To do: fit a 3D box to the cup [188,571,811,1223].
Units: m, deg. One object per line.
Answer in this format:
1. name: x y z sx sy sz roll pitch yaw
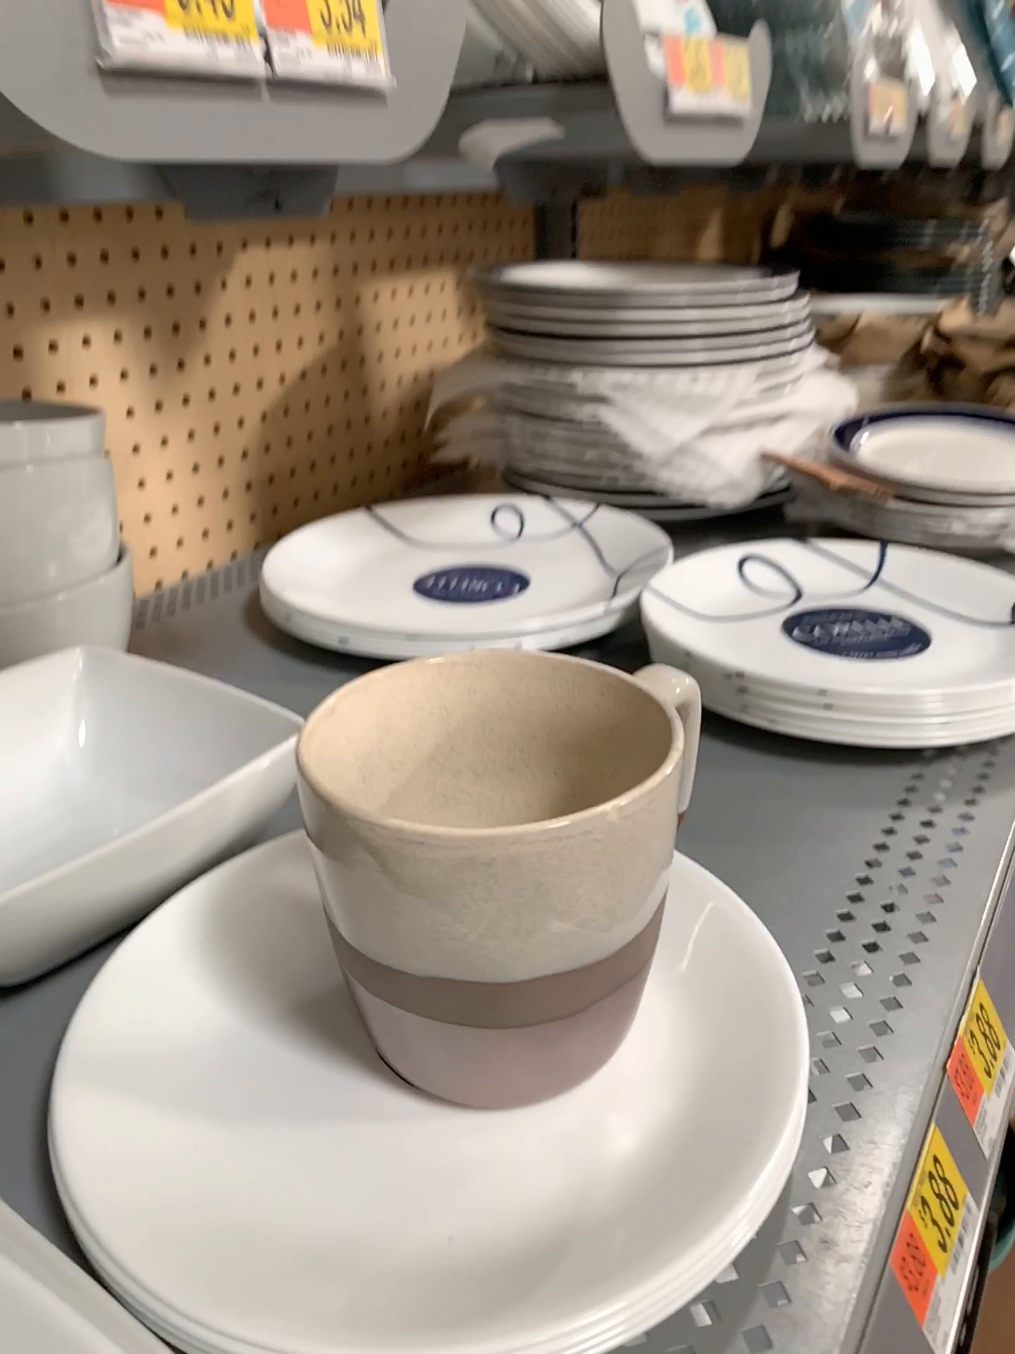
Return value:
1. cup: 0.006 0.044 0.299 0.107 0.096 0.138 15 30 31
